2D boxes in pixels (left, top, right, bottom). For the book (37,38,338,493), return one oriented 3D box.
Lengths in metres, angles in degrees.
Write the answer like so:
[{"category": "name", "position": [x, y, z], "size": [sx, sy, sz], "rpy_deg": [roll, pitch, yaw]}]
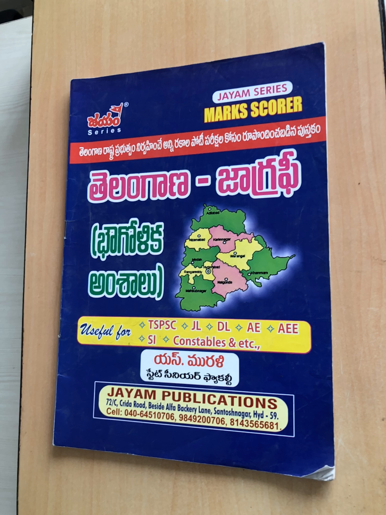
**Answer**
[{"category": "book", "position": [-0.005, -0.001, 0.309], "size": [0.200, 0.040, 0.280], "rpy_deg": [-1, 83, 16]}]
